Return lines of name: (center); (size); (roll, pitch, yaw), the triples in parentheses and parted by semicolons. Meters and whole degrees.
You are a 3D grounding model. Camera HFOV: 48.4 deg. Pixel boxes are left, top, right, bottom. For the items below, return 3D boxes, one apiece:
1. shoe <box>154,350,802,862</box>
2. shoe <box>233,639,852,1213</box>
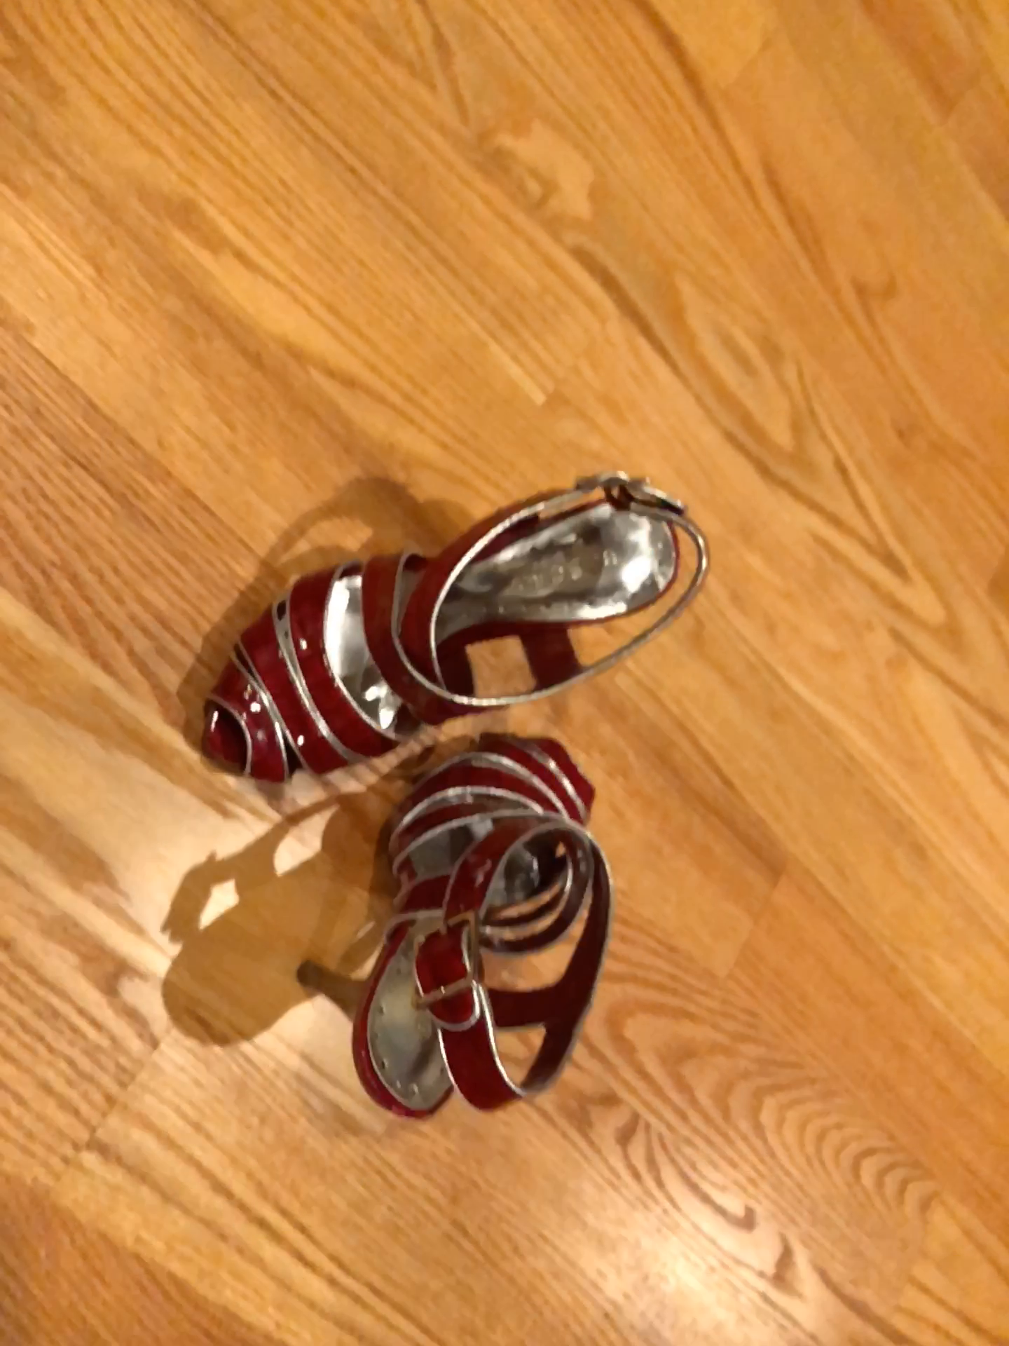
shoe: (-0.013, -0.024, 0.452); (0.199, 0.151, 0.091); (-37, 103, -29)
shoe: (0.014, 0.087, 0.455); (0.194, 0.141, 0.091); (-41, 105, -28)
